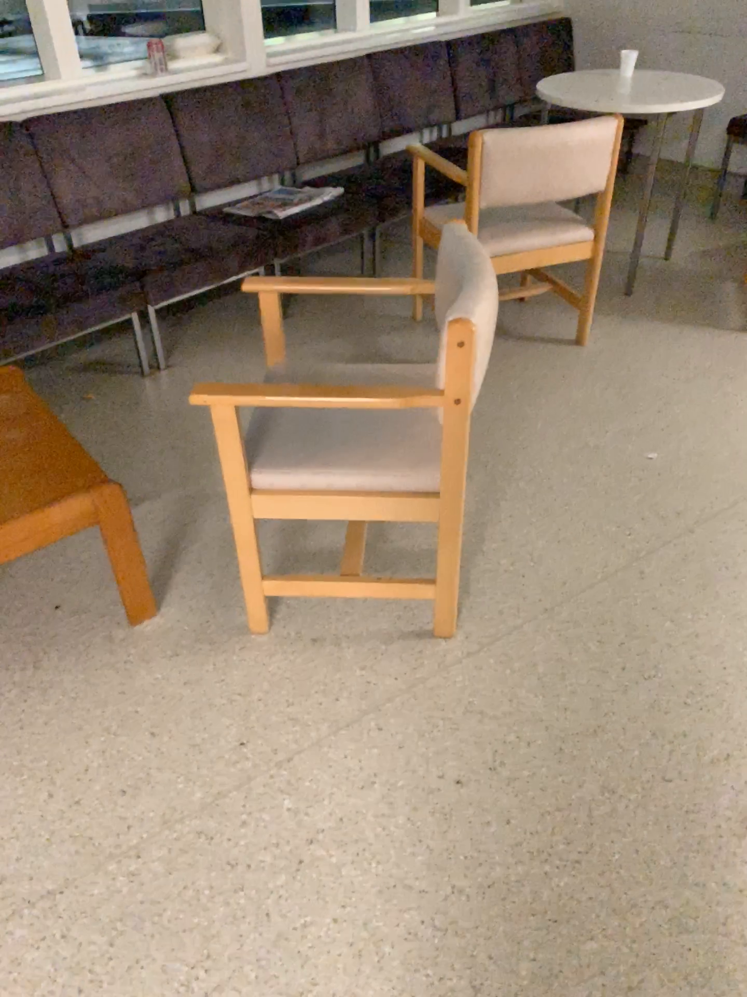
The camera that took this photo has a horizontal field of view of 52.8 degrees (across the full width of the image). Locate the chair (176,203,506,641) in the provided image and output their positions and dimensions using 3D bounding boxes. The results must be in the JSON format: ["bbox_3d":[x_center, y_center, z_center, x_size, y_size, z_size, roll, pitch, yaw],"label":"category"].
[{"bbox_3d":[-0.032,-0.155,1.592,0.510,0.753,0.515,0,38,3],"label":"chair"}]
